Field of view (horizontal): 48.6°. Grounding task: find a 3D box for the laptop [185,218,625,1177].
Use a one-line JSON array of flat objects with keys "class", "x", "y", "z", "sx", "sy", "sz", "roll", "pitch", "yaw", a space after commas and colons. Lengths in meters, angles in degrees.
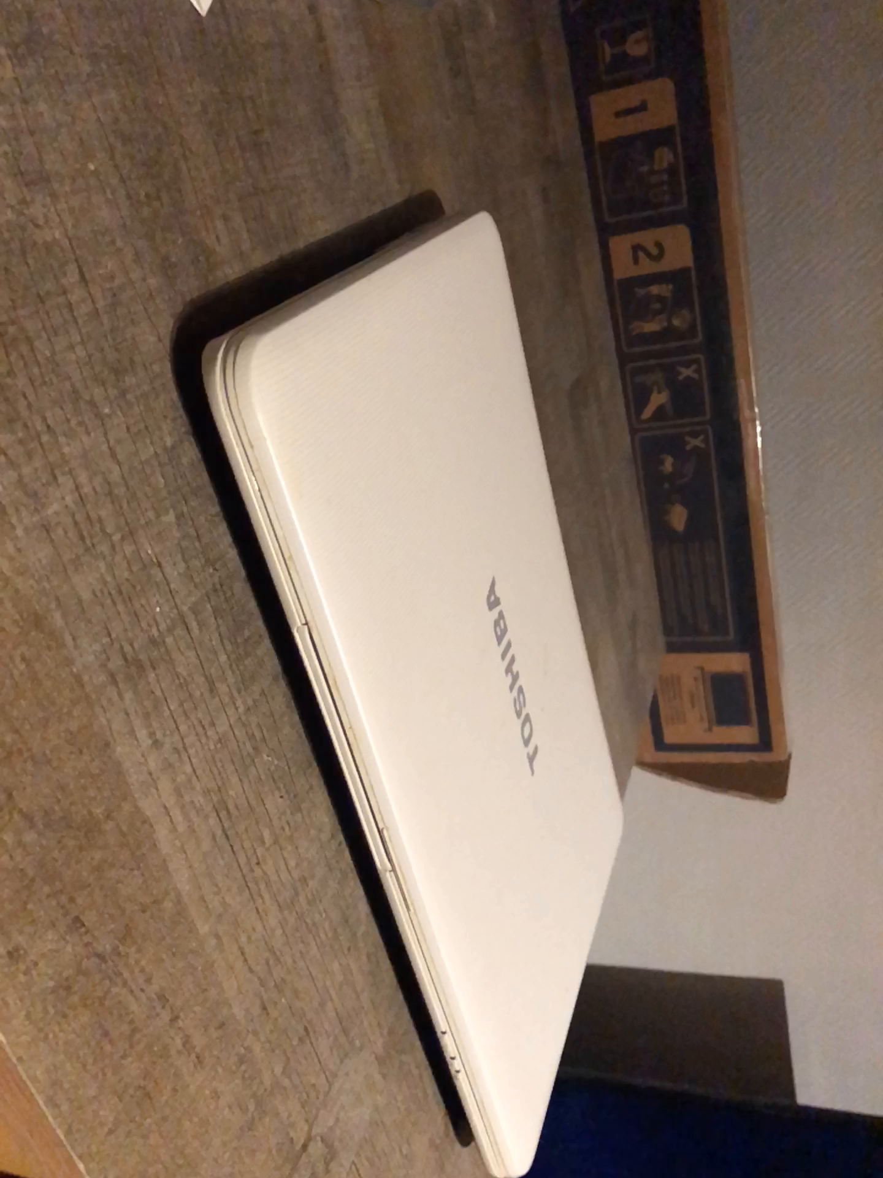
[{"class": "laptop", "x": 0.020, "y": 0.045, "z": 0.455, "sx": 0.228, "sy": 0.020, "sz": 0.376, "roll": -54, "pitch": 135, "yaw": -53}]
